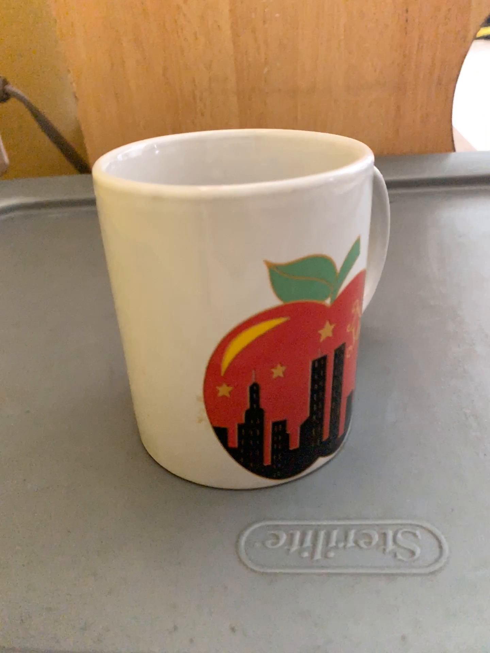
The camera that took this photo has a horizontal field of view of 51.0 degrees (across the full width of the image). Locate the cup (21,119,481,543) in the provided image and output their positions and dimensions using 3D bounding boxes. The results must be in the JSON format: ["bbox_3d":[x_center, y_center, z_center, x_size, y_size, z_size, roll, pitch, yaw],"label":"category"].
[{"bbox_3d":[0.004,-0.016,0.193,0.118,0.095,0.097,-25,36,-35],"label":"cup"}]
